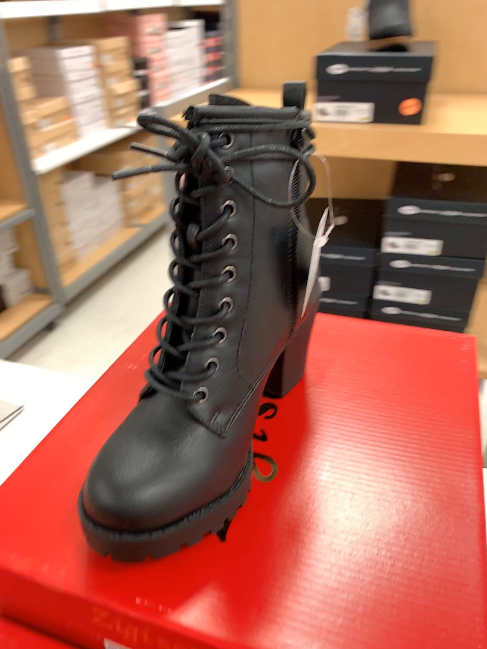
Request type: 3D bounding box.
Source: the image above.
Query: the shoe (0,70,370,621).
[{"bbox_3d":[-0.021,-0.010,0.269,0.092,0.203,0.201,16,37,26],"label":"shoe"}]
